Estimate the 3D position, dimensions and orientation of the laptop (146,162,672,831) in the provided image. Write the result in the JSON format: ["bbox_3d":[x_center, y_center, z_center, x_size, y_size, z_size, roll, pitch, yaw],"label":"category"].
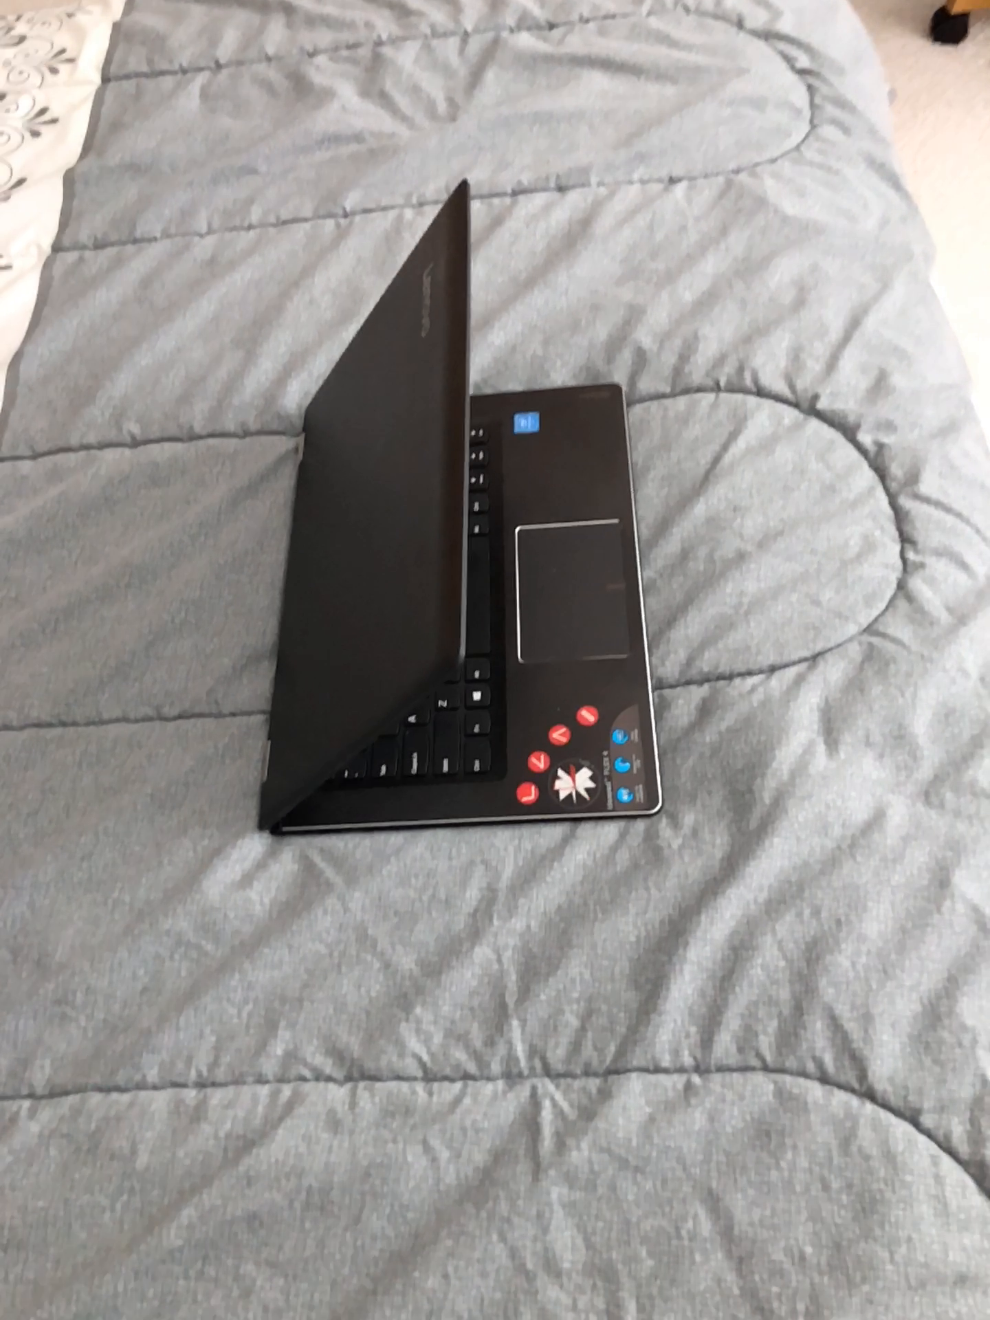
[{"bbox_3d":[-0.031,-0.087,0.588,0.214,0.168,0.305,-4,59,5],"label":"laptop"}]
